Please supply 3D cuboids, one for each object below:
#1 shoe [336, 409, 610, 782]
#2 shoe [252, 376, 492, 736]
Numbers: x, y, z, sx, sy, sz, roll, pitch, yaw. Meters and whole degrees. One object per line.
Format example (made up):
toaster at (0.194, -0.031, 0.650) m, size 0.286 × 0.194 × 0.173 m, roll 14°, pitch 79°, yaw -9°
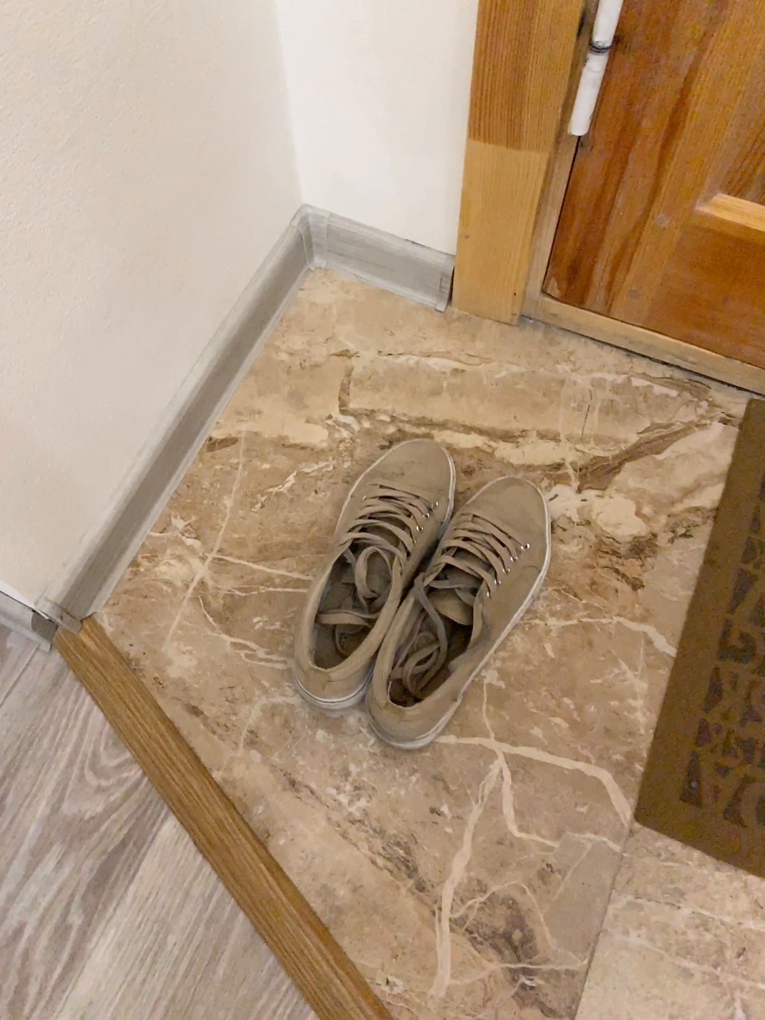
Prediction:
shoe at (0.068, 0.060, 0.578) m, size 0.090 × 0.100 × 0.240 m, roll 26°, pitch 67°, yaw 13°
shoe at (0.000, 0.033, 0.603) m, size 0.090 × 0.100 × 0.240 m, roll 18°, pitch 66°, yaw 10°
